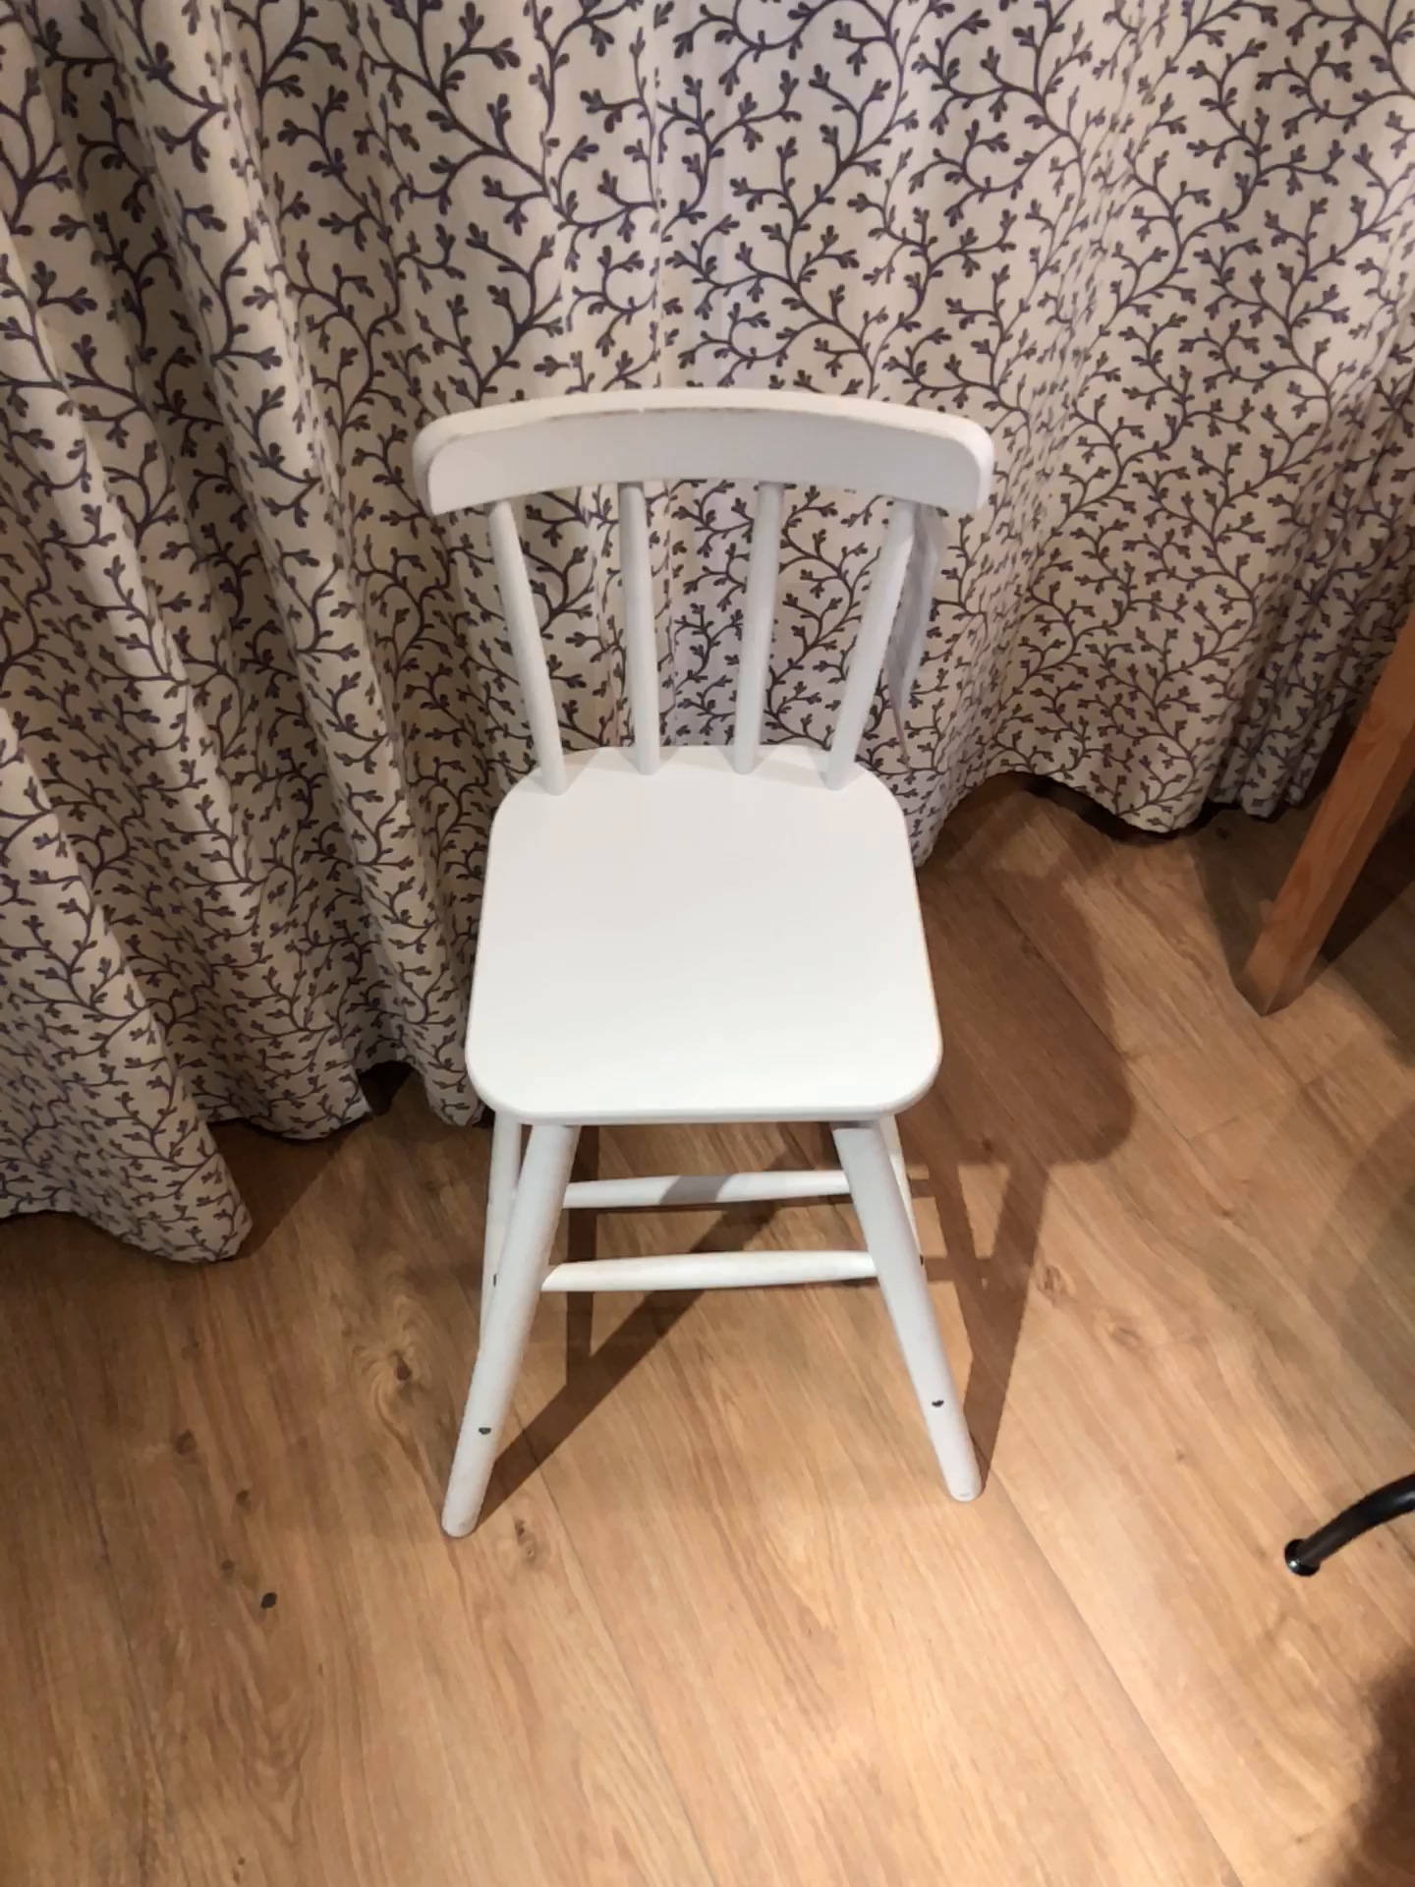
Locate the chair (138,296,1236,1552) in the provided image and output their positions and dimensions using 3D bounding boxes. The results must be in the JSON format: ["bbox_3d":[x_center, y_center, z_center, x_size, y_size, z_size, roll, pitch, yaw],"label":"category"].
[{"bbox_3d":[-0.023,0.040,1.008,0.420,0.706,0.453,-4,53,-3],"label":"chair"}]
